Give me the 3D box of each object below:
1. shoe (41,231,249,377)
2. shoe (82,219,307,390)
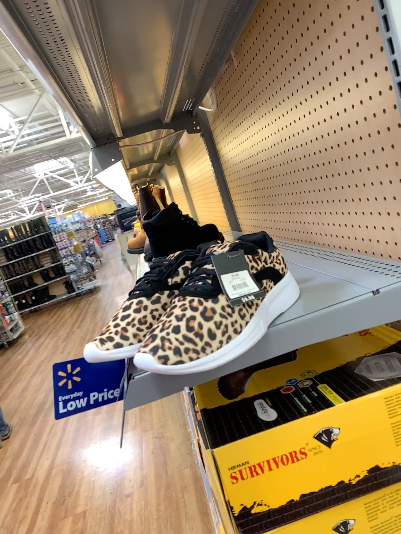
[{"bbox_3d":[-0.066,0.038,0.555,0.240,0.091,0.120,-27,13,-39],"label":"shoe"},{"bbox_3d":[0.007,0.030,0.476,0.110,0.091,0.240,-8,14,45],"label":"shoe"}]
